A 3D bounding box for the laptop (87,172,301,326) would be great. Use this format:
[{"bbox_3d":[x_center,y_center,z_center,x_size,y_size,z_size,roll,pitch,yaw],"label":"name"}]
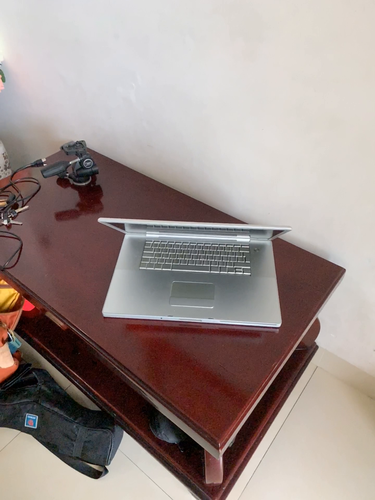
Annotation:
[{"bbox_3d":[0.018,-0.010,0.876,0.399,0.193,0.266,3,45,2],"label":"laptop"}]
